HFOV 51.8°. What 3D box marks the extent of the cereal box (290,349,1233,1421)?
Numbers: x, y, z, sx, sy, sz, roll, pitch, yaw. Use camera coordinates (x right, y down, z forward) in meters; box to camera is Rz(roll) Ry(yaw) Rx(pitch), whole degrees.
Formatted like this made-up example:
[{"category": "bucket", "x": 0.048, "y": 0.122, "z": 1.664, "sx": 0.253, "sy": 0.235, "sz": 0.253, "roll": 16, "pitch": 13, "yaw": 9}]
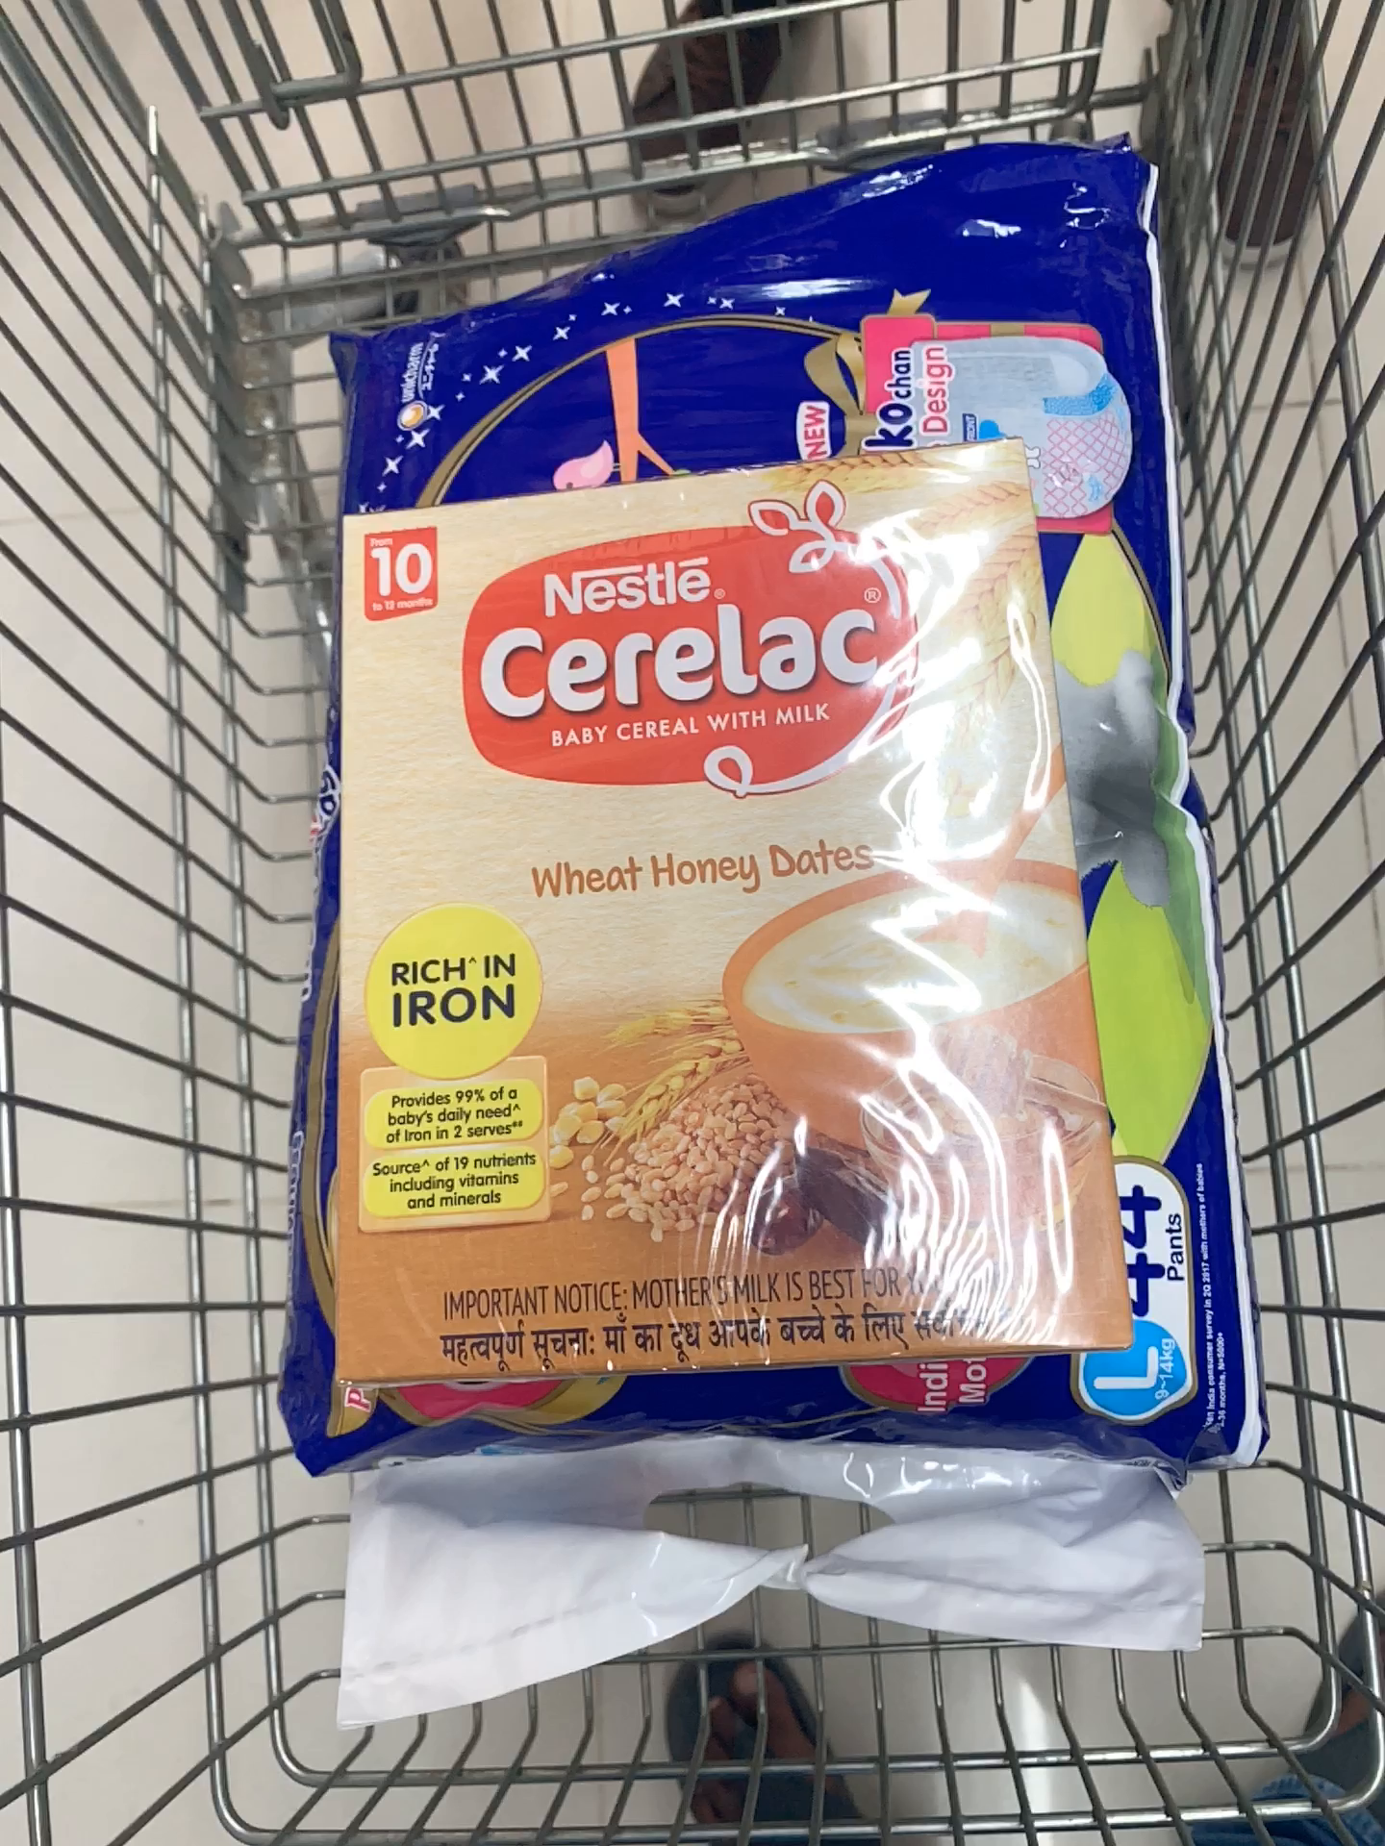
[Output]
[{"category": "cereal box", "x": 0.007, "y": -0.005, "z": 0.292, "sx": 0.160, "sy": 0.060, "sz": 0.190, "roll": -5, "pitch": 77, "yaw": 6}]
